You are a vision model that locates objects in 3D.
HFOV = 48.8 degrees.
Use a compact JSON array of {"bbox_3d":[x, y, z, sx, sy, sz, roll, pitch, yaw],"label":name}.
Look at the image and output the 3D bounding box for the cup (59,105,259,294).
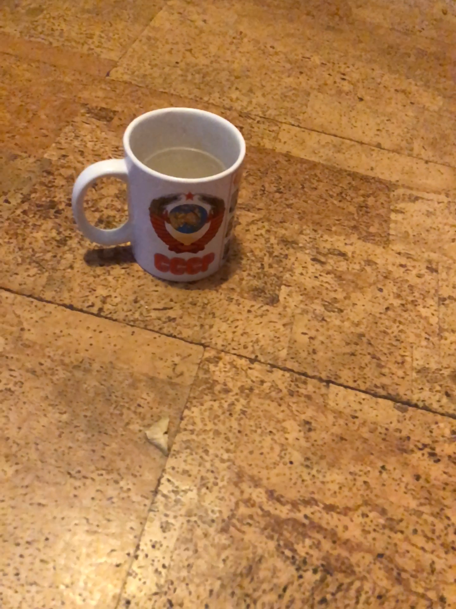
[{"bbox_3d":[-0.051,-0.075,0.363,0.119,0.099,0.083,-5,53,-11],"label":"cup"}]
